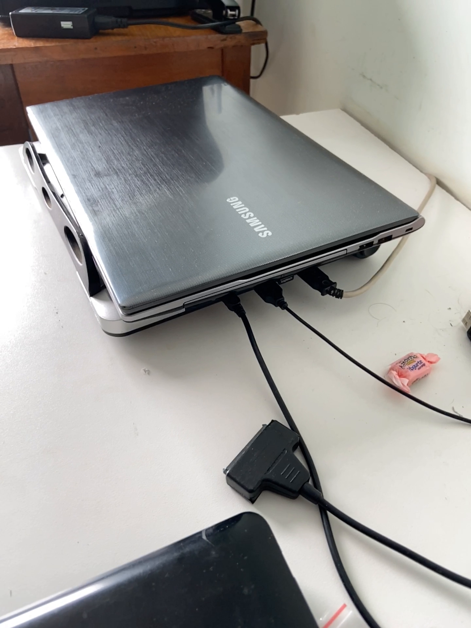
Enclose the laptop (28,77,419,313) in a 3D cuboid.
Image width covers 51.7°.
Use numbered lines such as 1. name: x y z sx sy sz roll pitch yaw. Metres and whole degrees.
1. laptop: -0.046 -0.152 0.465 0.236 0.005 0.375 -19 46 -18
